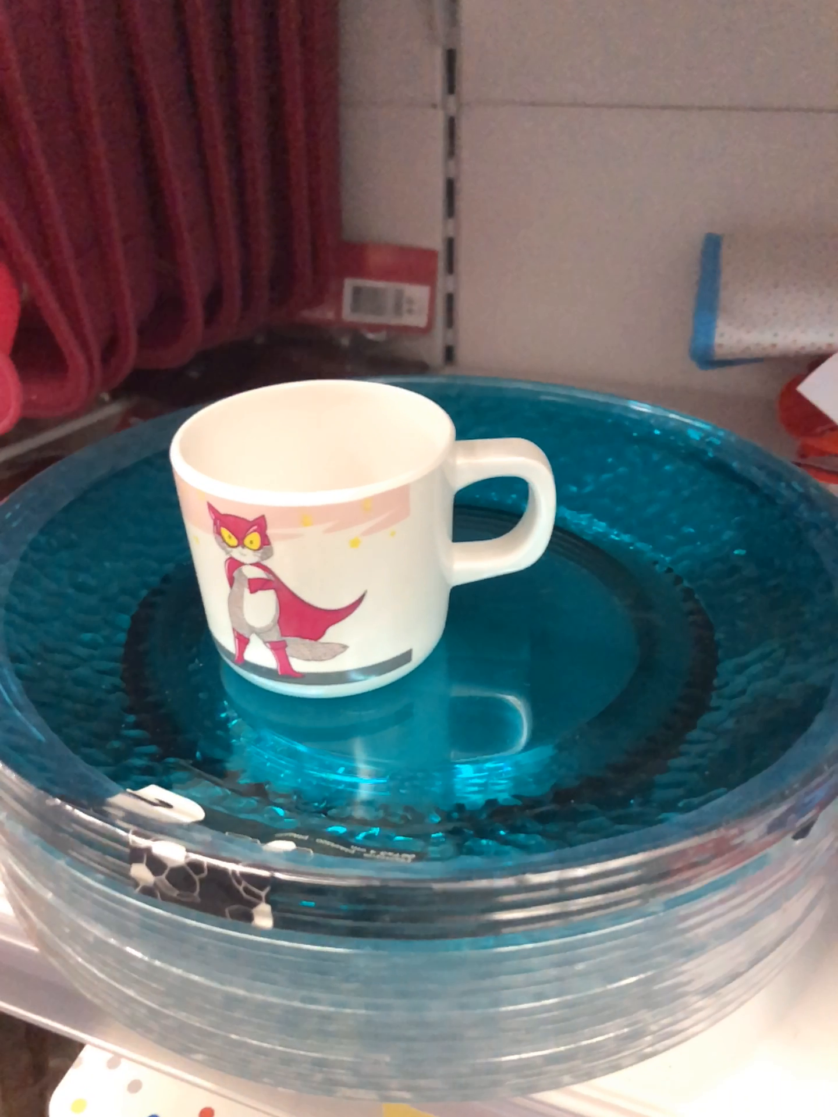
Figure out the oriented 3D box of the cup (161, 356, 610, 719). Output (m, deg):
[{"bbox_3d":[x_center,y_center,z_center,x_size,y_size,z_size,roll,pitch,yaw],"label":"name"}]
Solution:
[{"bbox_3d":[-0.011,-0.010,0.259,0.102,0.064,0.075,-5,31,-7],"label":"cup"}]
